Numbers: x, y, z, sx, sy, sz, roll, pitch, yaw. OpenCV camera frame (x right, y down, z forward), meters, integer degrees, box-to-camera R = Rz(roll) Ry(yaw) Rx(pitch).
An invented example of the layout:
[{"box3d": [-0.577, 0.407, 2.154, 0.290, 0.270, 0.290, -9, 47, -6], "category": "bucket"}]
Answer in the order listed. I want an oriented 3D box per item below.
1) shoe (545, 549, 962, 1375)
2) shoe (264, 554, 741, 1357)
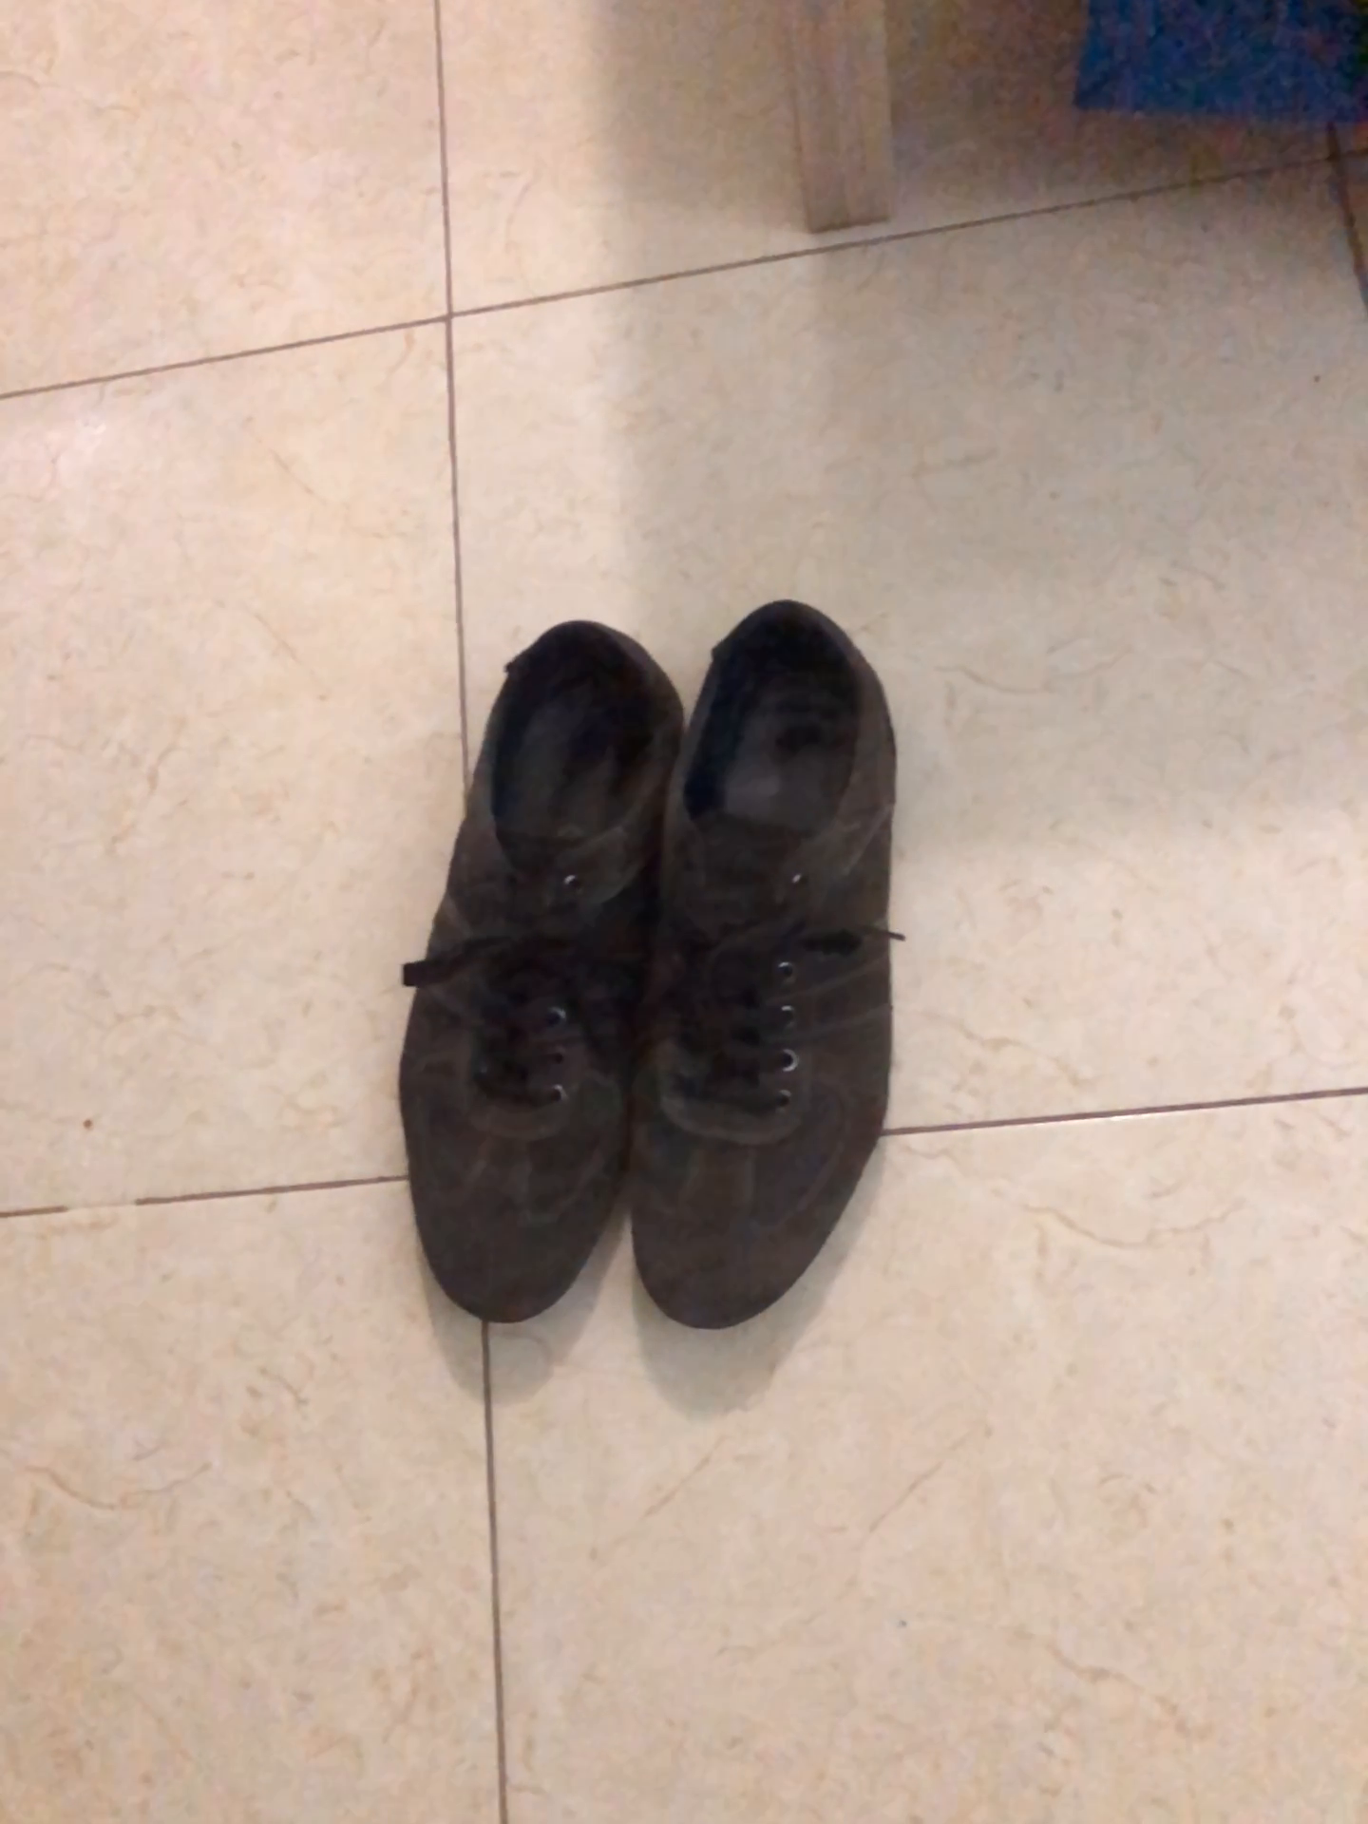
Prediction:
[{"box3d": [0.038, 0.020, 0.610, 0.110, 0.110, 0.300, 7, 77, 12], "category": "shoe"}, {"box3d": [-0.063, 0.018, 0.624, 0.120, 0.110, 0.300, 6, 76, 12], "category": "shoe"}]
